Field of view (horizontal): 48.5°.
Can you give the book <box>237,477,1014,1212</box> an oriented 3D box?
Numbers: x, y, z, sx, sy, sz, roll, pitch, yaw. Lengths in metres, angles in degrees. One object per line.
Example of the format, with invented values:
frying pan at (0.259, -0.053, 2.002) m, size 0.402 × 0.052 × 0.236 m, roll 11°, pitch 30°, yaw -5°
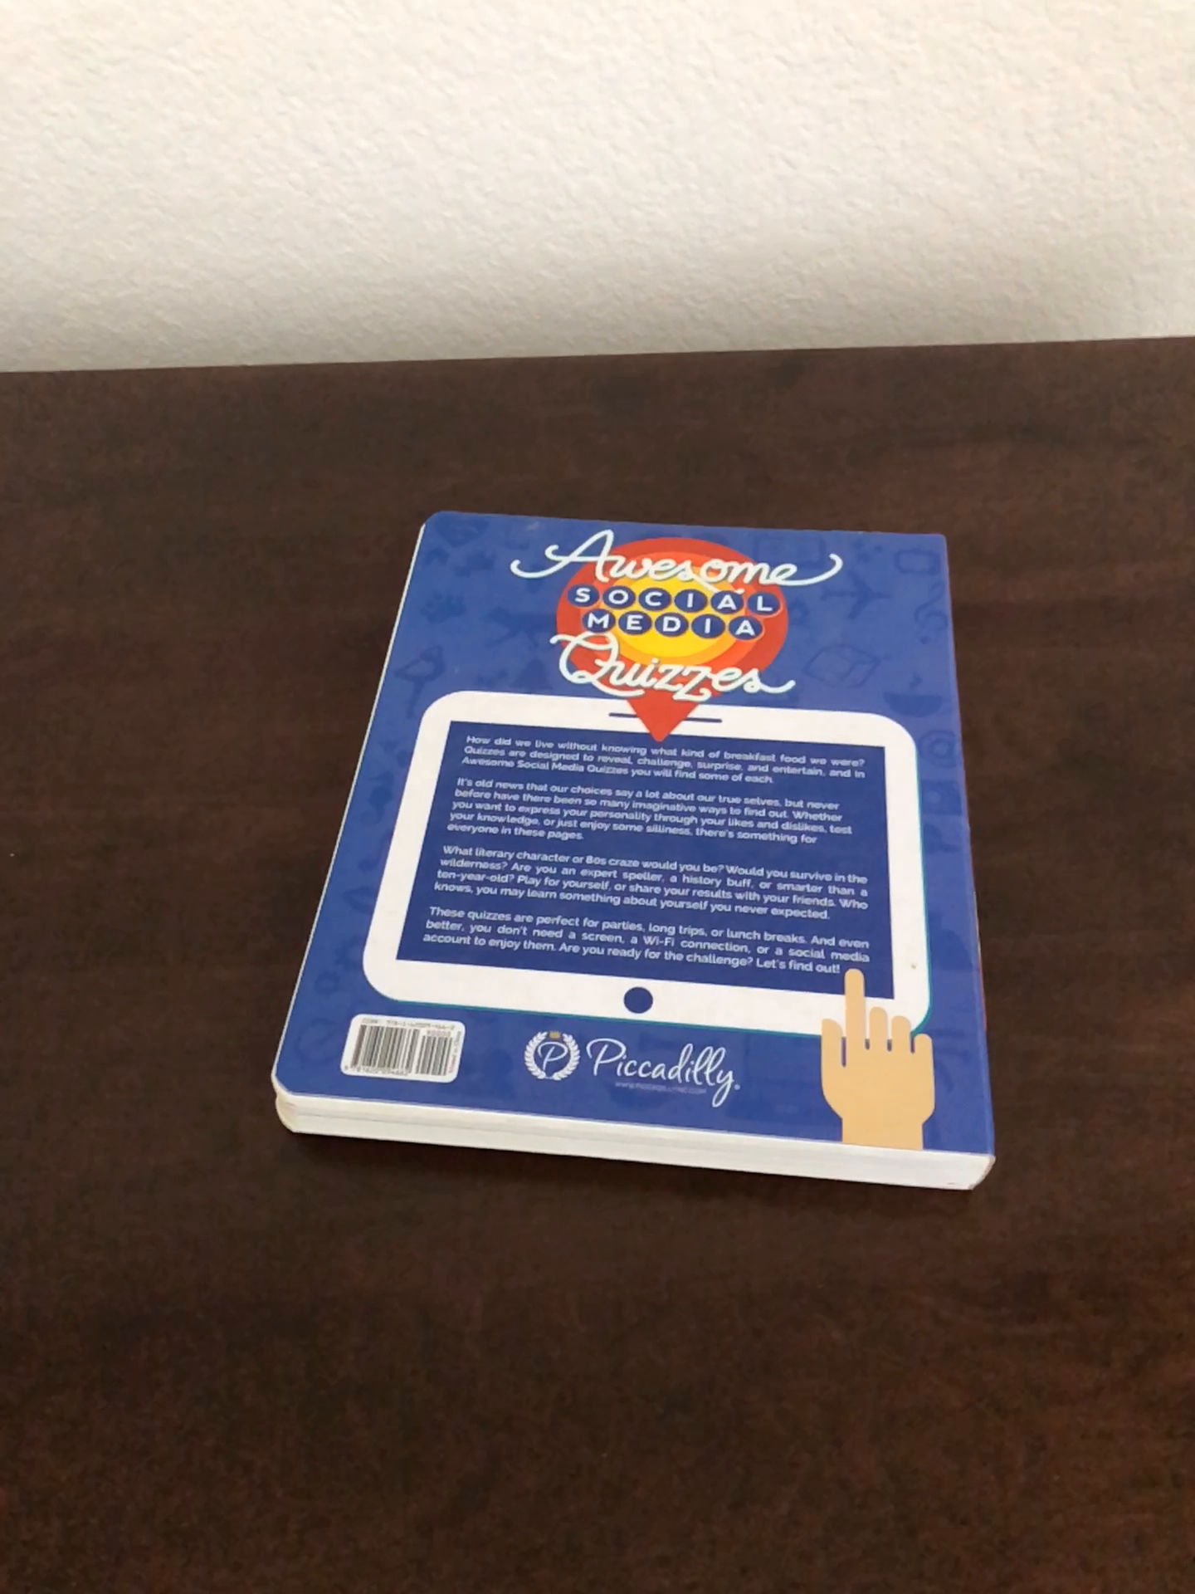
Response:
book at (0.015, -0.003, 0.370) m, size 0.173 × 0.030 × 0.215 m, roll 4°, pitch 54°, yaw 4°
